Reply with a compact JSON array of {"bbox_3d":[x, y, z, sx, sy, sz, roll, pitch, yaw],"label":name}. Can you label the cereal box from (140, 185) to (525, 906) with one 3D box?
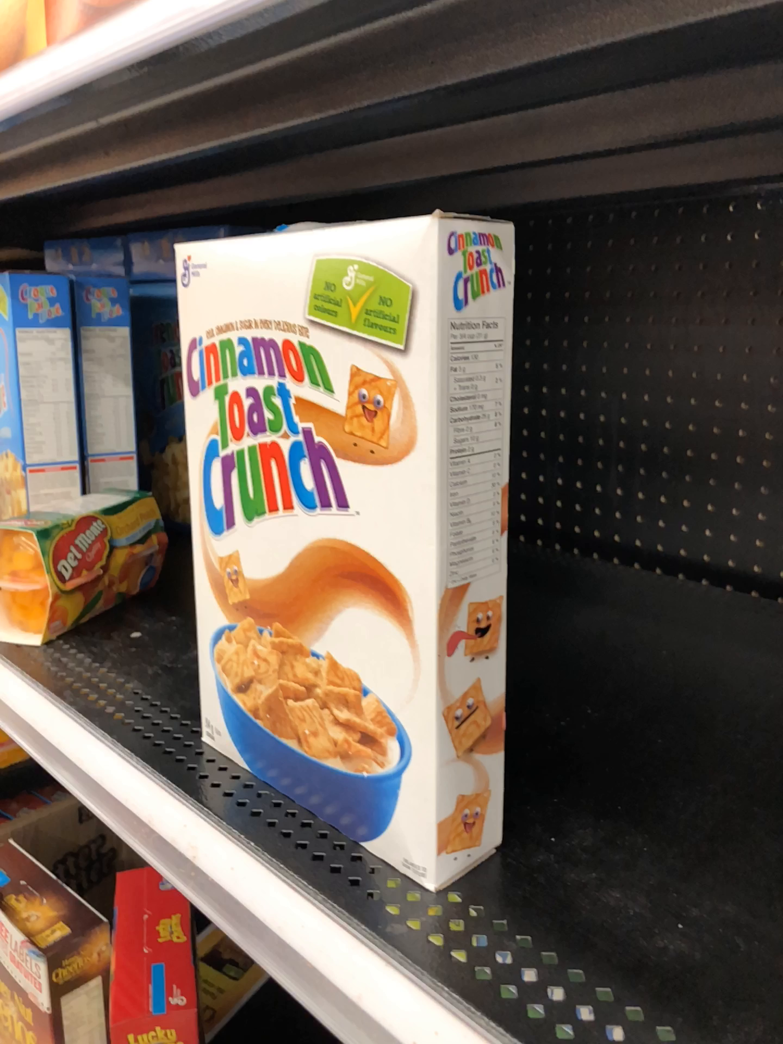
[{"bbox_3d":[-0.039,0.000,0.417,0.050,0.279,0.211,-12,17,-42],"label":"cereal box"}]
